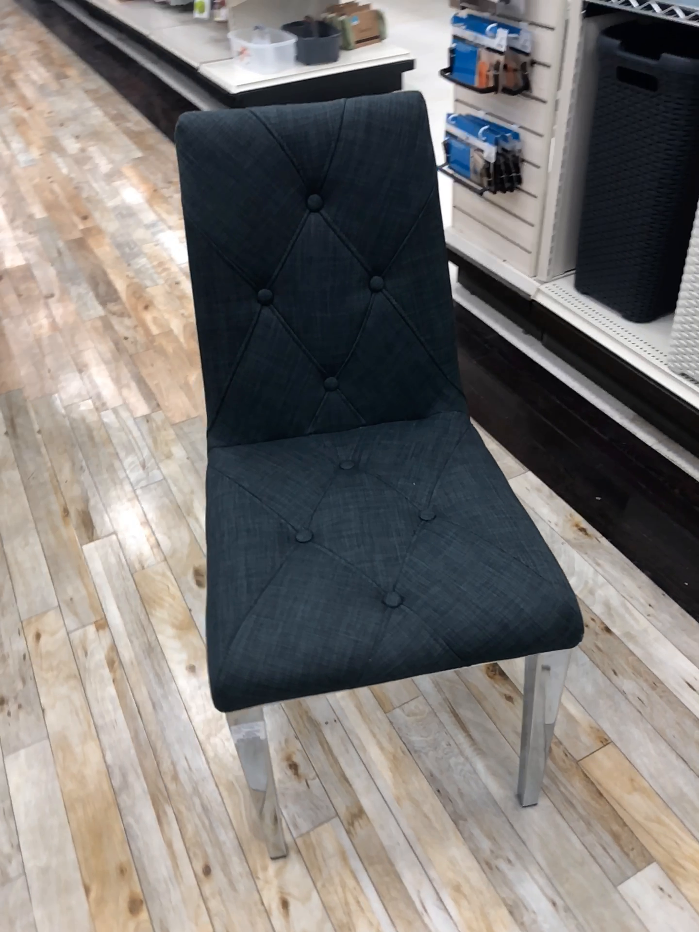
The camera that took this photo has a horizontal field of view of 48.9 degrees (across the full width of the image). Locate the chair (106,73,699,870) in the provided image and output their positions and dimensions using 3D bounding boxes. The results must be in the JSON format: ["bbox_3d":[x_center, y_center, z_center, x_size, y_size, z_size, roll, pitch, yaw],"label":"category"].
[{"bbox_3d":[0.020,0.025,1.057,0.450,0.866,0.582,-9,40,-6],"label":"chair"}]
